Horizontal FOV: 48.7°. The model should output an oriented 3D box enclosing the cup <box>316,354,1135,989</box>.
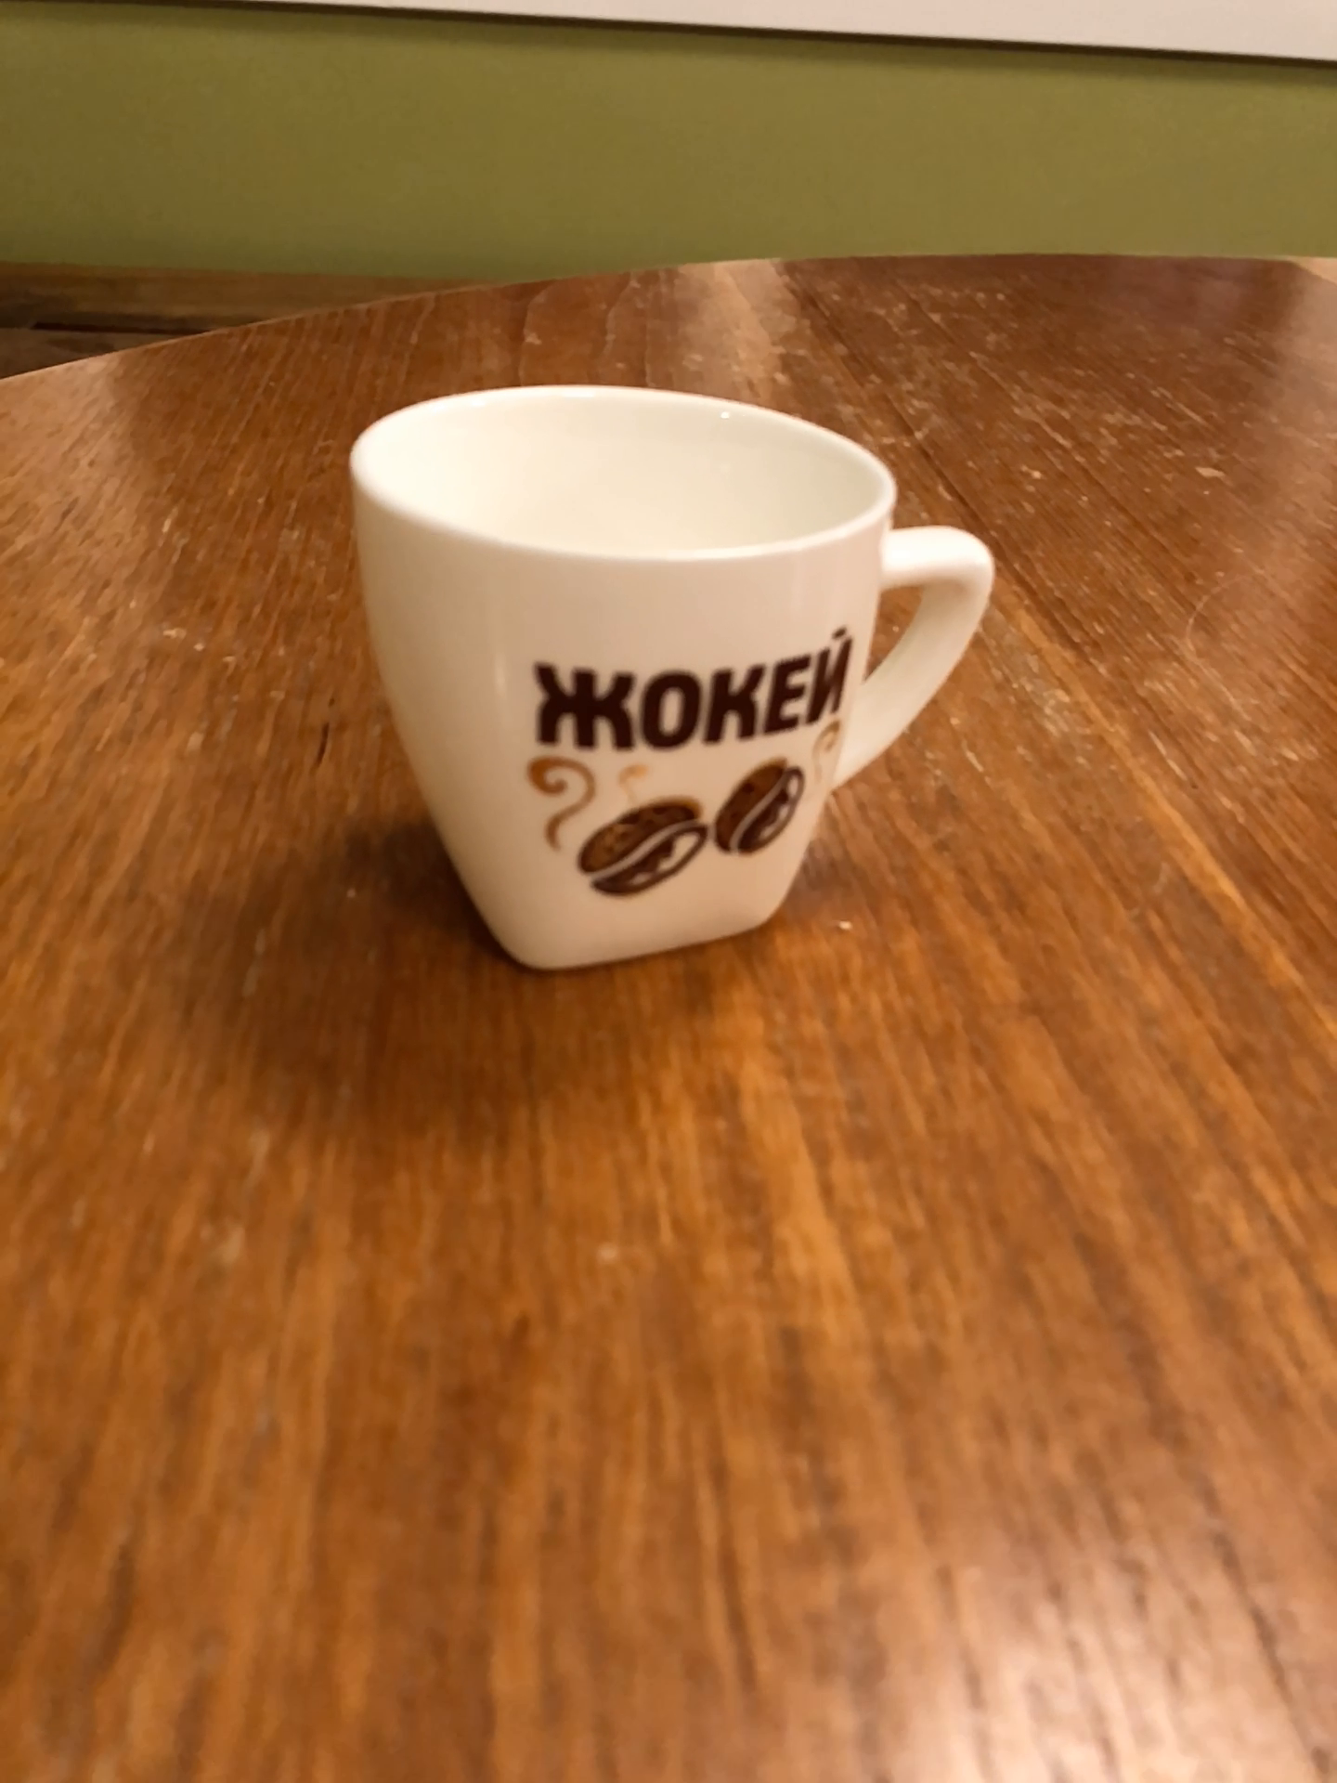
[{"bbox_3d":[0.003,-0.032,0.181,0.076,0.047,0.060,-11,37,-20],"label":"cup"}]
